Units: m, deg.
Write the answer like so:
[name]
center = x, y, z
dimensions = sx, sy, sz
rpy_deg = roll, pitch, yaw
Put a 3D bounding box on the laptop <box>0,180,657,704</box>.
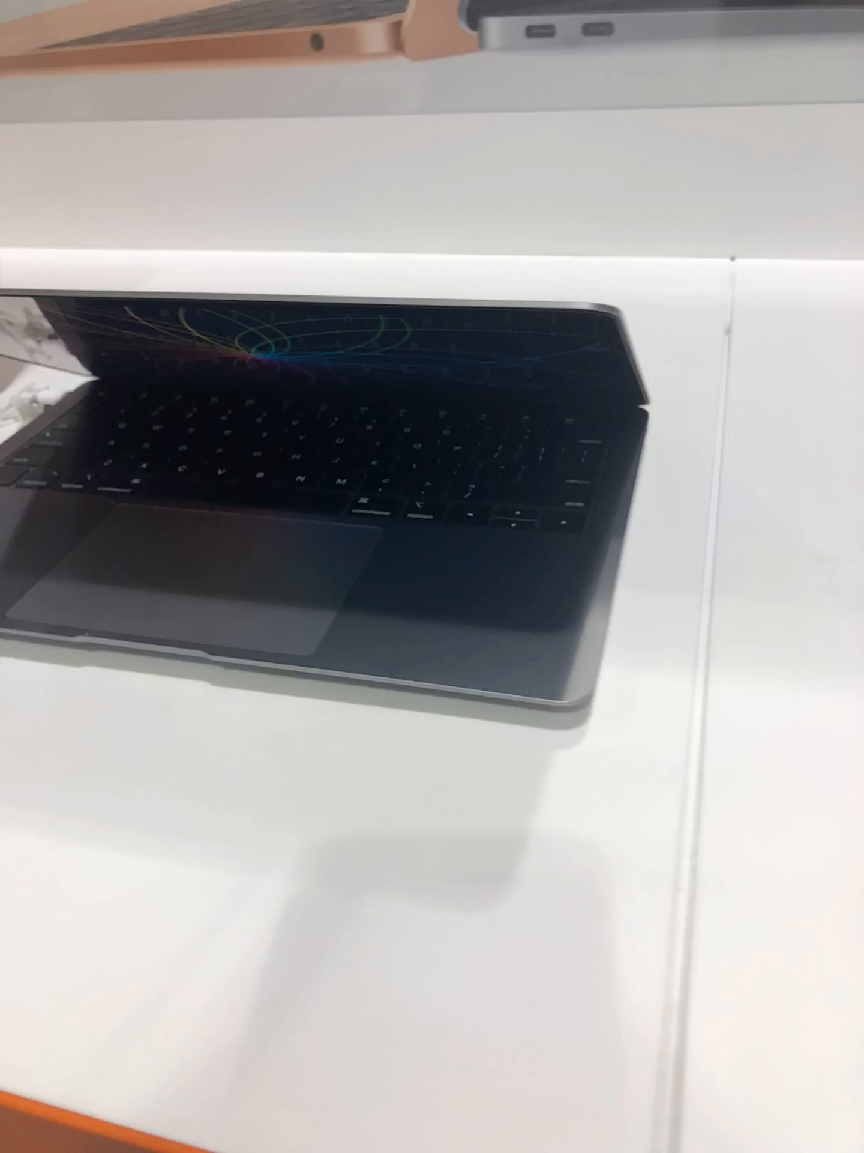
[laptop]
center = -0.071, -0.076, 0.373
dimensions = 0.289, 0.102, 0.199
rpy_deg = 6, 35, 14
